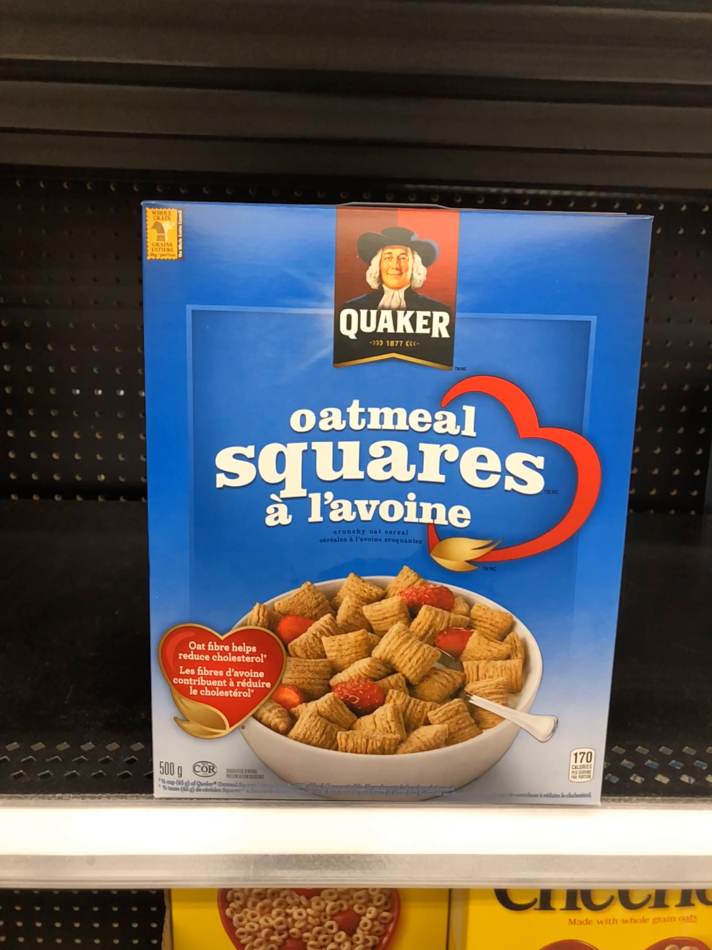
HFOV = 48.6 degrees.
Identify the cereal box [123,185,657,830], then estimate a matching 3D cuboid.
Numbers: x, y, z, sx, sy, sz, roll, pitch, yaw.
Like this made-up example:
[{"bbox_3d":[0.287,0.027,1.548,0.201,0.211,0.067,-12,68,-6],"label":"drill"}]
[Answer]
[{"bbox_3d":[0.009,0.020,0.368,0.210,0.279,0.060,2,12,-2],"label":"cereal box"}]
